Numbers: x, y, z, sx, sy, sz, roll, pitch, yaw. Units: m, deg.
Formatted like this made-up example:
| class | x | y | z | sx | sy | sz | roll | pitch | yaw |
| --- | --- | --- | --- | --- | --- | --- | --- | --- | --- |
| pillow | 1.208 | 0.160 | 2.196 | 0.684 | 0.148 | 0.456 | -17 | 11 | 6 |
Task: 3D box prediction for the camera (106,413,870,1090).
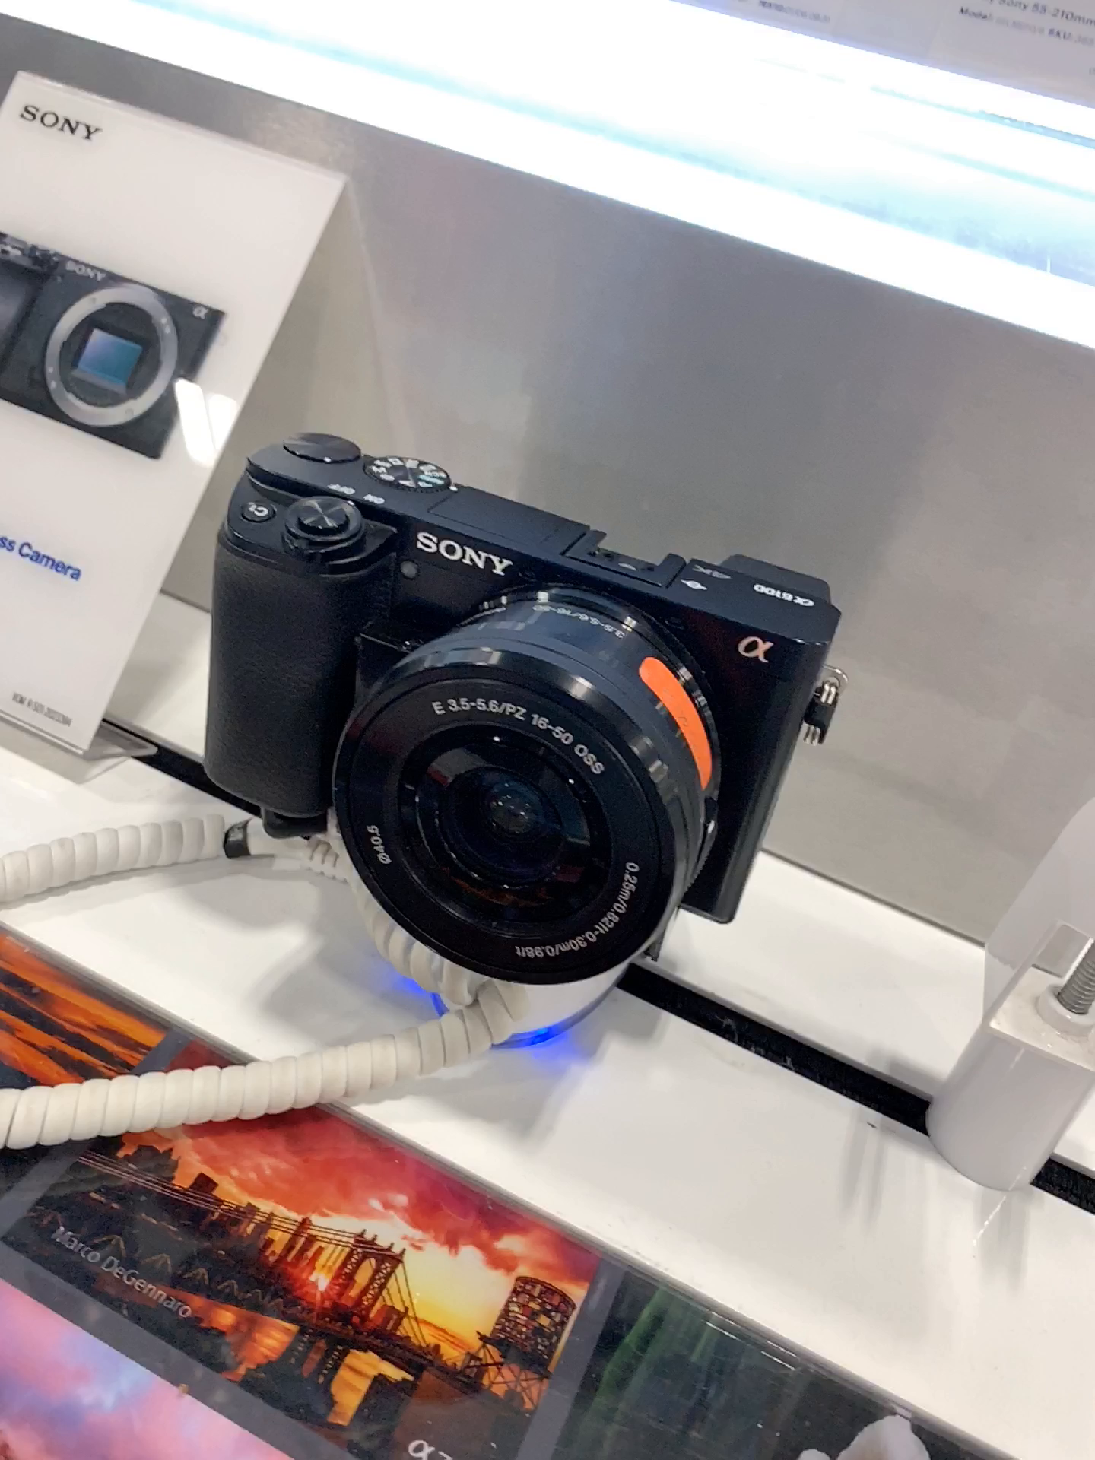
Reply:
| class | x | y | z | sx | sy | sz | roll | pitch | yaw |
| --- | --- | --- | --- | --- | --- | --- | --- | --- | --- |
| camera | -0.010 | -0.001 | 0.220 | 0.121 | 0.070 | 0.070 | 19 | 33 | 6 |
